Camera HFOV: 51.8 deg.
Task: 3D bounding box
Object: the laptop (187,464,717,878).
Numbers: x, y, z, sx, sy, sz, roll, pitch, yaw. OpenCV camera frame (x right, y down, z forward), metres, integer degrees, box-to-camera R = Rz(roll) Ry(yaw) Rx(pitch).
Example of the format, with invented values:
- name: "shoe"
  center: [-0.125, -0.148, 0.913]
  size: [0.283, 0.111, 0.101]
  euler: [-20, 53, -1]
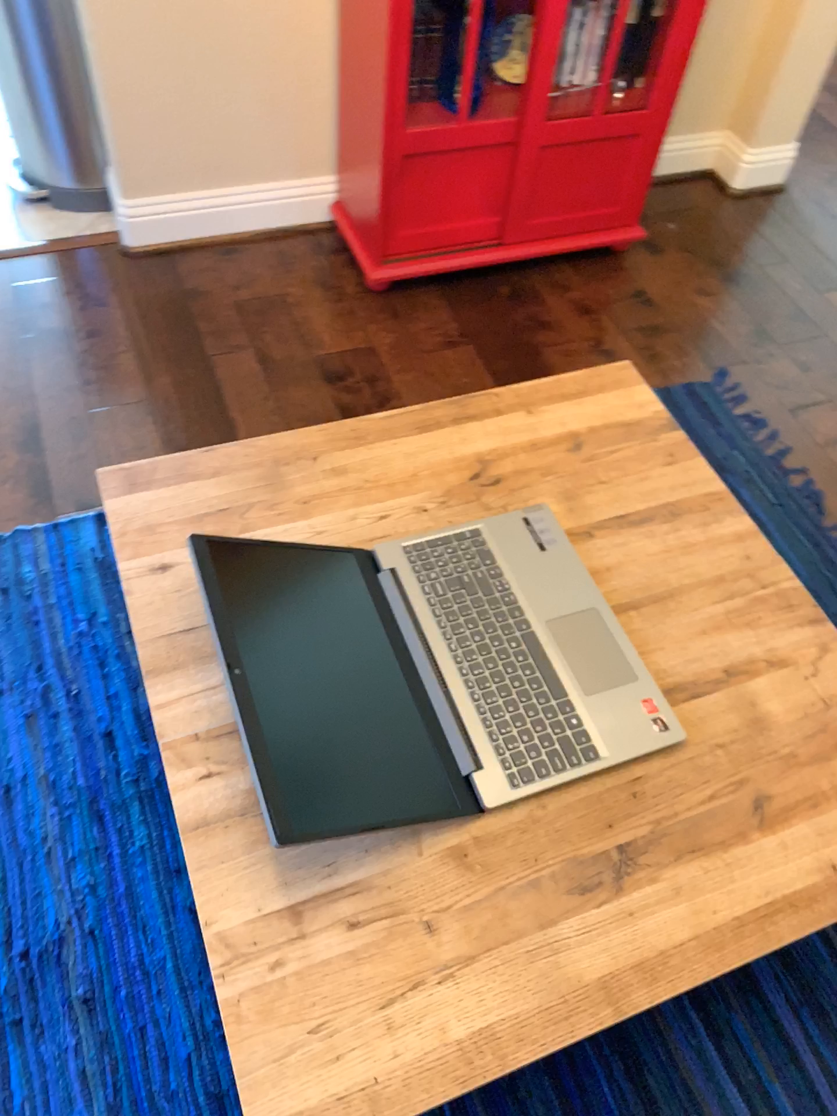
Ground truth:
- name: "laptop"
  center: [0.025, 0.092, 0.936]
  size: [0.461, 0.099, 0.347]
  euler: [-12, 55, -19]
